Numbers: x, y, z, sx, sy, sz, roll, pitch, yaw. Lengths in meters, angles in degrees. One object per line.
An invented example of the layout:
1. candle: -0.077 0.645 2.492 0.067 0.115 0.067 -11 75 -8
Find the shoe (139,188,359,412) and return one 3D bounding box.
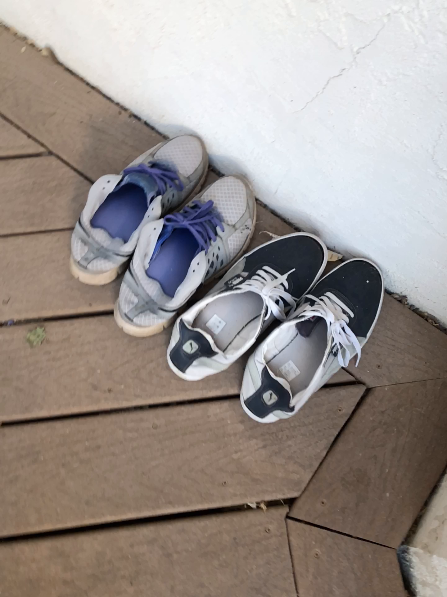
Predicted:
1. shoe: 0.040 0.000 0.718 0.120 0.100 0.320 42 74 13

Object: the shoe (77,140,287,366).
1. shoe: -0.052 -0.071 0.735 0.120 0.100 0.320 36 73 11

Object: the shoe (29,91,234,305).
1. shoe: -0.129 -0.160 0.767 0.120 0.100 0.320 36 73 11

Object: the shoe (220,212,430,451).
1. shoe: 0.145 0.045 0.711 0.120 0.100 0.330 37 73 11
